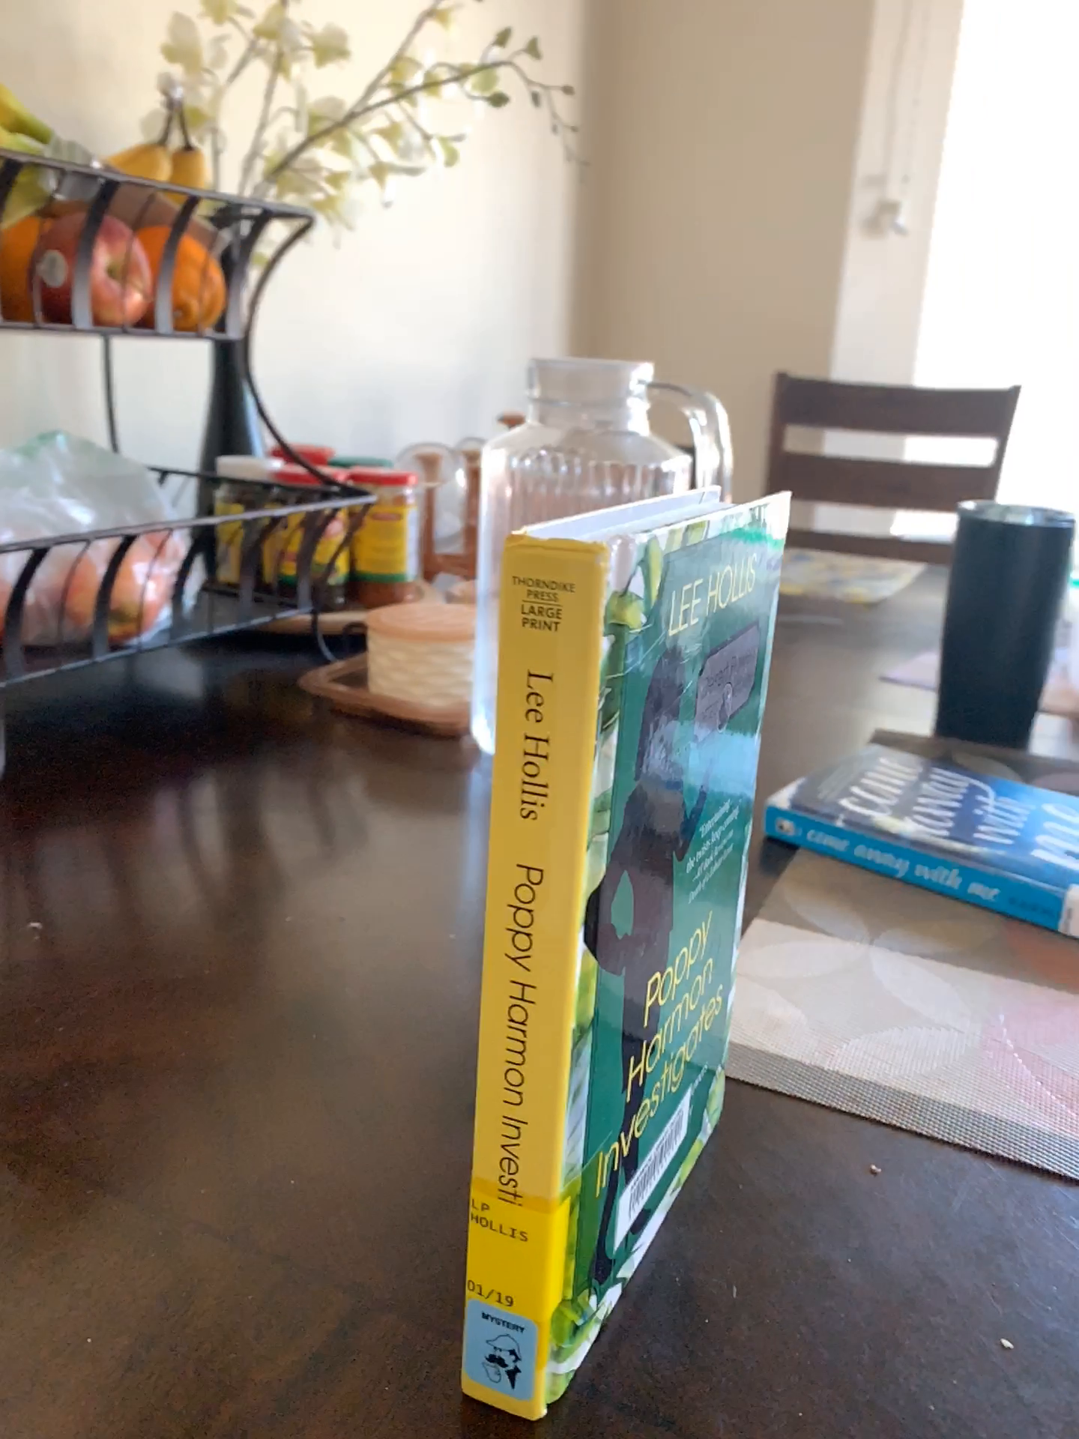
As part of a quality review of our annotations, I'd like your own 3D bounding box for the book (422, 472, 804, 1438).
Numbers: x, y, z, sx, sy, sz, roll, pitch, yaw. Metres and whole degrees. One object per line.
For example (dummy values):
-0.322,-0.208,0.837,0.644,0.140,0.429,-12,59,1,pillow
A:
0.025,0.049,0.315,0.040,0.220,0.154,10,19,25,book
